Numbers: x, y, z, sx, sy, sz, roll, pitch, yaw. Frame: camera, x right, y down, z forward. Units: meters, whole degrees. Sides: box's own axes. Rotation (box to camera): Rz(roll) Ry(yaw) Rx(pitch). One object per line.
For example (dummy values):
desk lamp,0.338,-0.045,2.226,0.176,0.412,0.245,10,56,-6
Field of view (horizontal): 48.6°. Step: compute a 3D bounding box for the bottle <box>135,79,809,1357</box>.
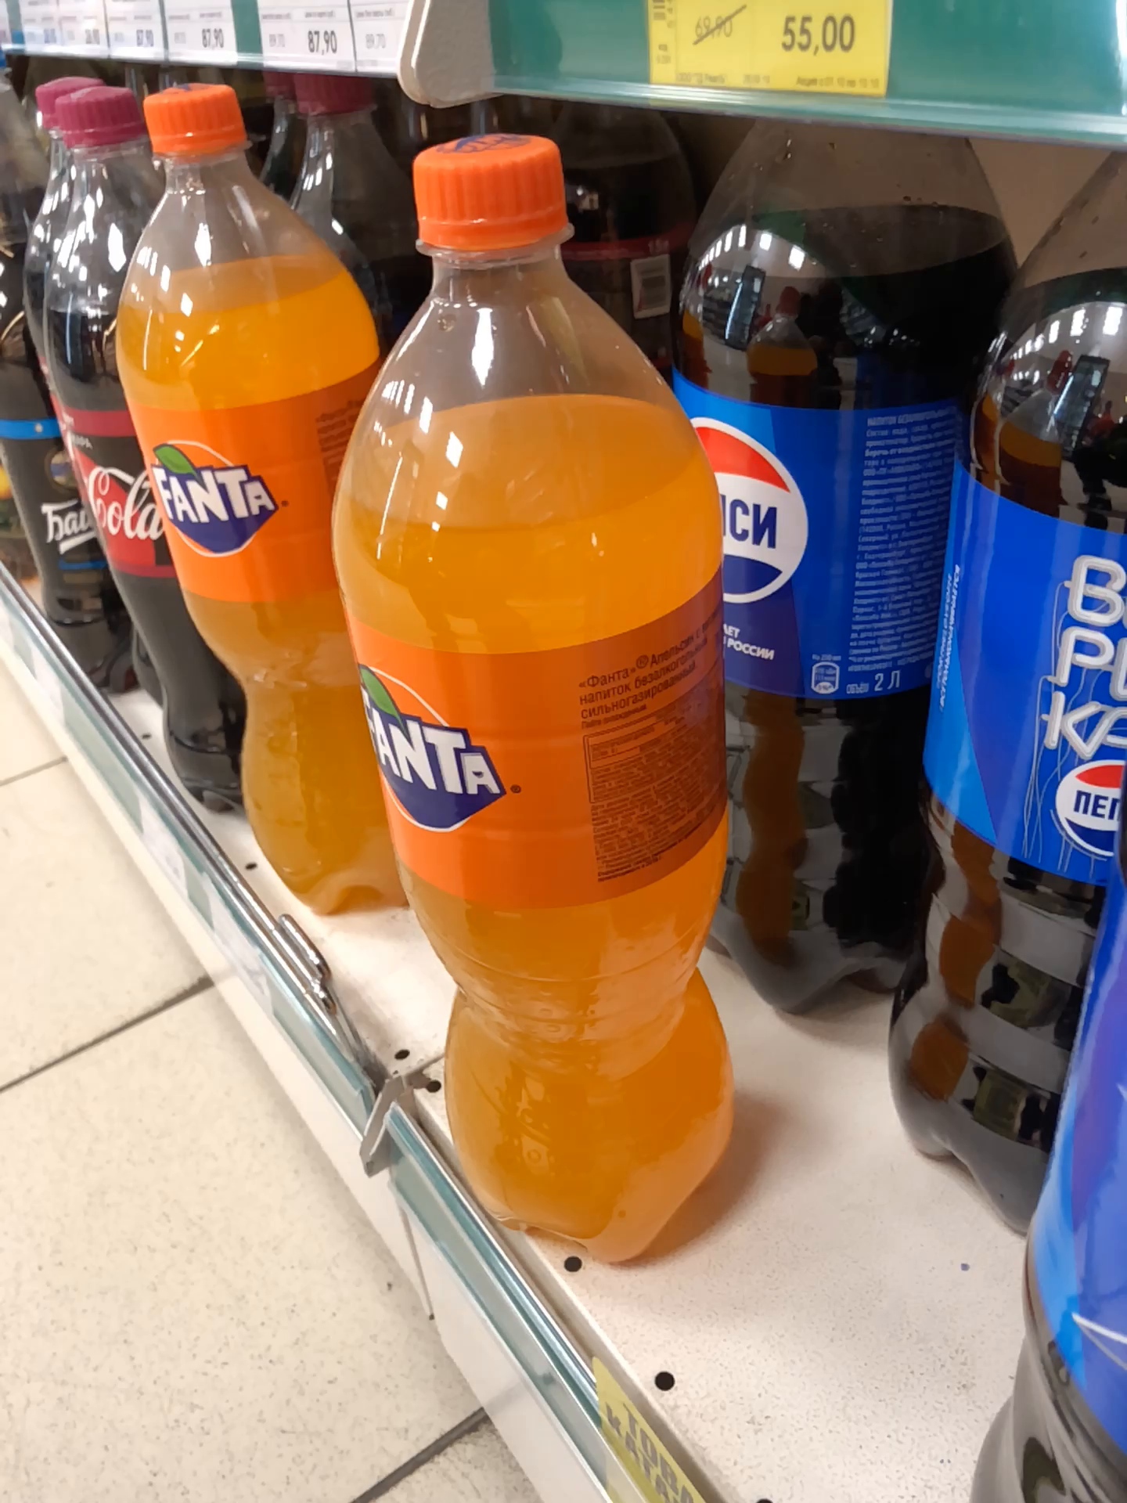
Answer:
bottle,-0.007,0.006,0.325,0.090,0.308,0.100,-27,39,-28
